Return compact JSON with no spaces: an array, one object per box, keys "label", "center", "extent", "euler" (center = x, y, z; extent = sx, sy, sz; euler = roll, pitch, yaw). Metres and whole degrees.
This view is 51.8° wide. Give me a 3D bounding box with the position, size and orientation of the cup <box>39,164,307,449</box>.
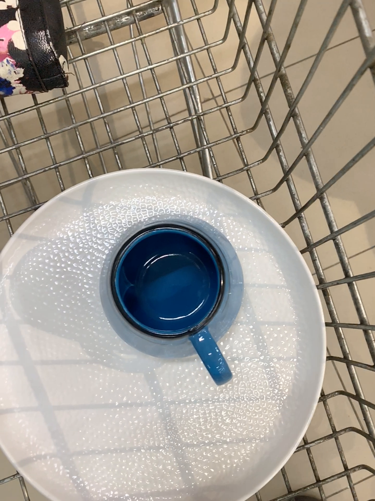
[{"label":"cup","center":[-0.009,0.033,0.269],"extent":[0.100,0.090,0.130],"euler":[-33,88,-2]}]
